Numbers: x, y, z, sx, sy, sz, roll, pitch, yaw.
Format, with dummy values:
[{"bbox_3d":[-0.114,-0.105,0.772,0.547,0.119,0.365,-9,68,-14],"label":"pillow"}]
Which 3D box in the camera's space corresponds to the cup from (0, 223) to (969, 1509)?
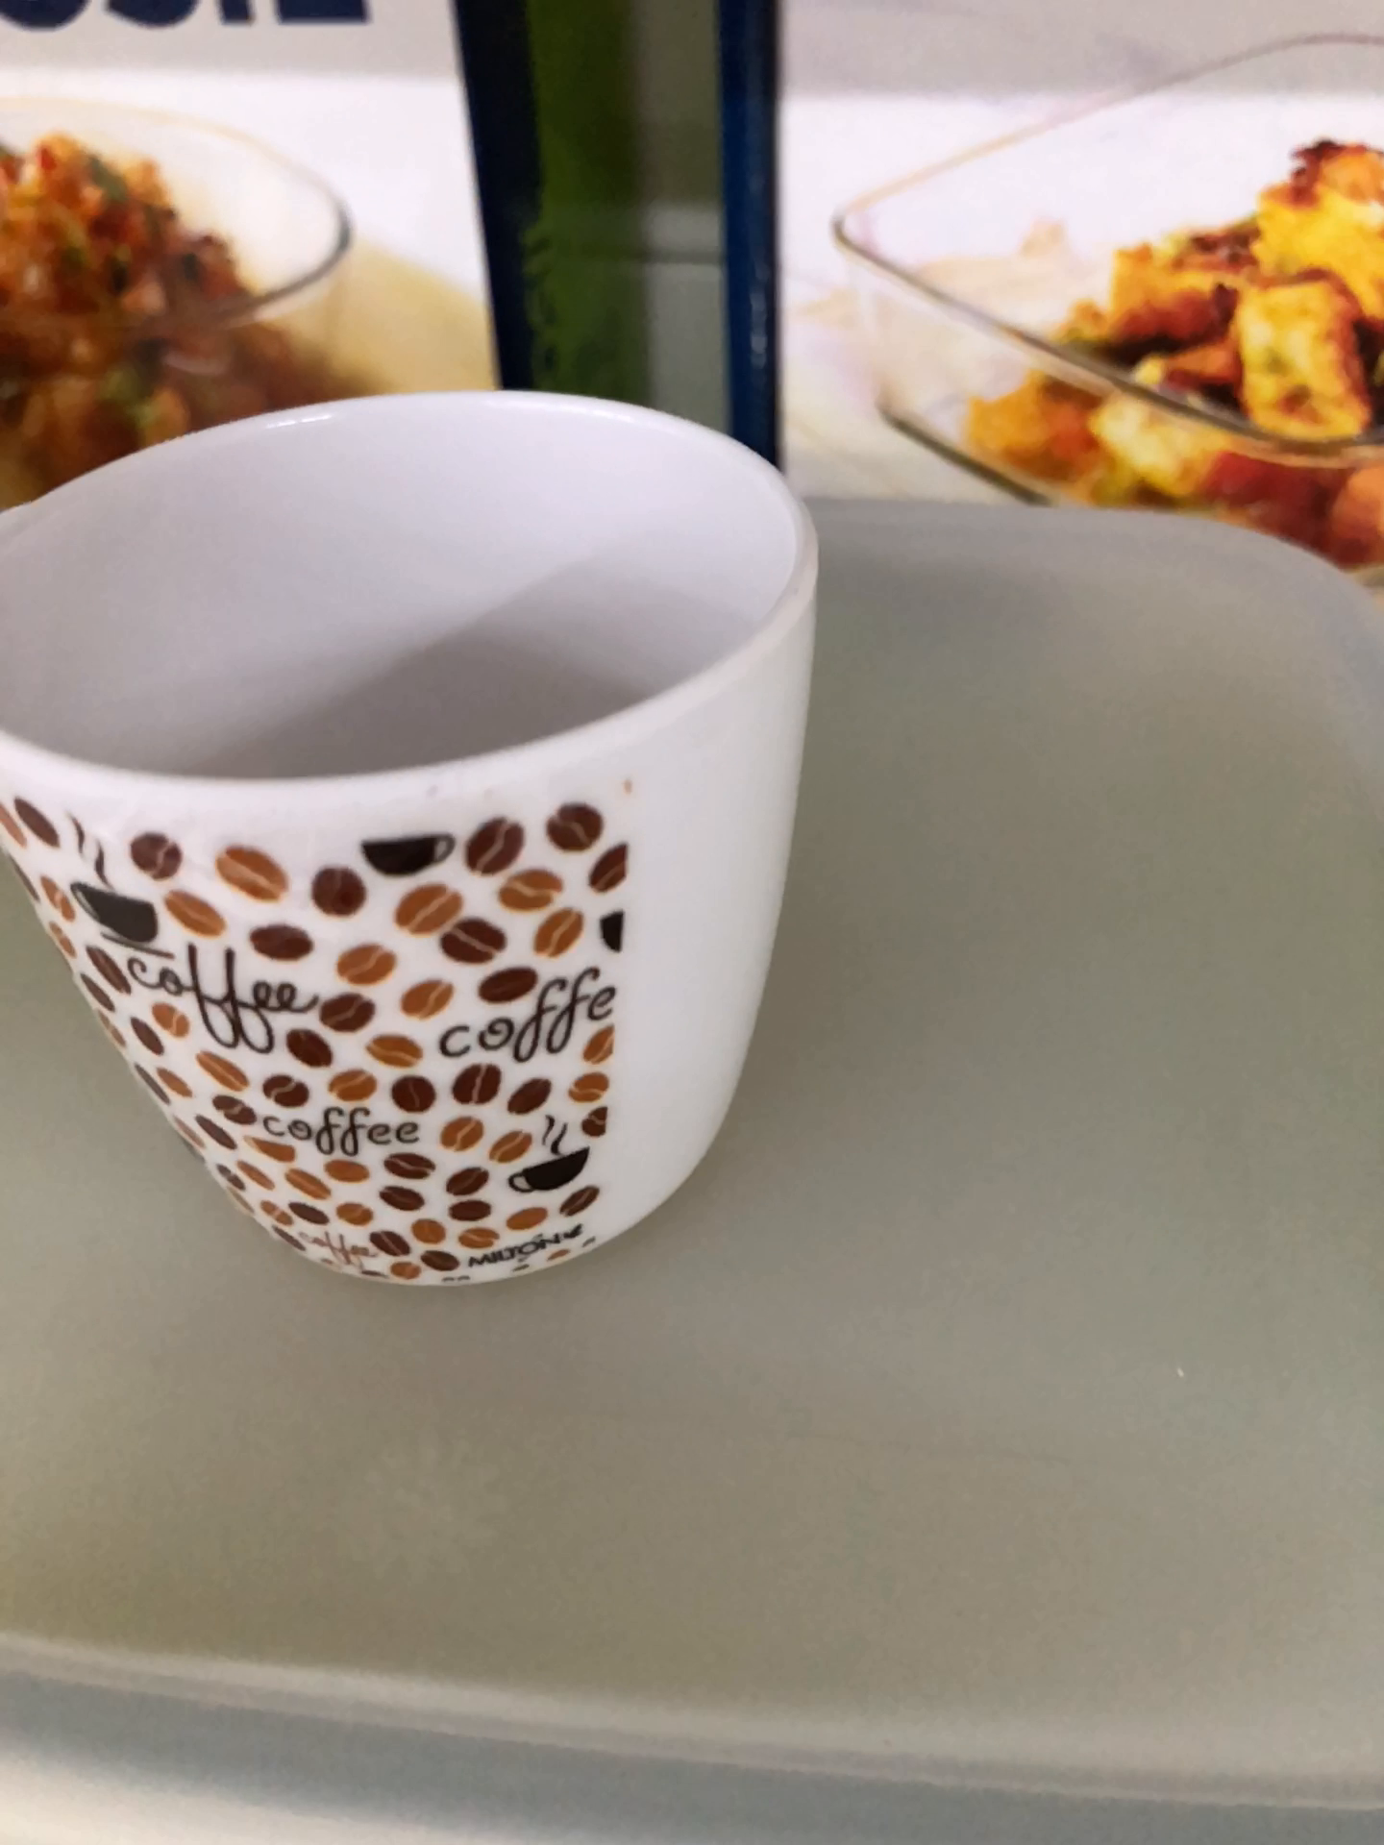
[{"bbox_3d":[-0.031,-0.013,0.116,0.080,0.050,0.060,19,43,24],"label":"cup"}]
